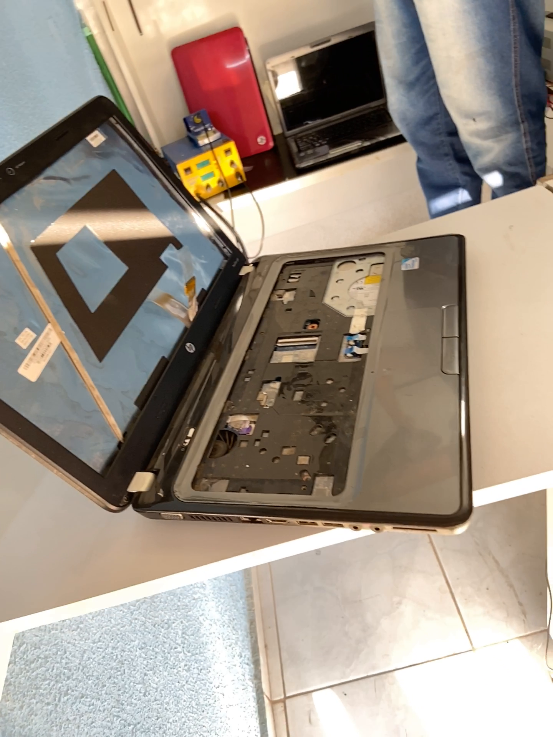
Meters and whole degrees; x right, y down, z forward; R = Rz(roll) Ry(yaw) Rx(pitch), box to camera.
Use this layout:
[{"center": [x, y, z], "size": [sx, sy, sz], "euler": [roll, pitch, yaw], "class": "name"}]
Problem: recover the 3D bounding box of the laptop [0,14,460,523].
[{"center": [-0.037, -0.091, 0.443], "size": [0.323, 0.194, 0.337], "euler": [-3, 40, 21], "class": "laptop"}]
